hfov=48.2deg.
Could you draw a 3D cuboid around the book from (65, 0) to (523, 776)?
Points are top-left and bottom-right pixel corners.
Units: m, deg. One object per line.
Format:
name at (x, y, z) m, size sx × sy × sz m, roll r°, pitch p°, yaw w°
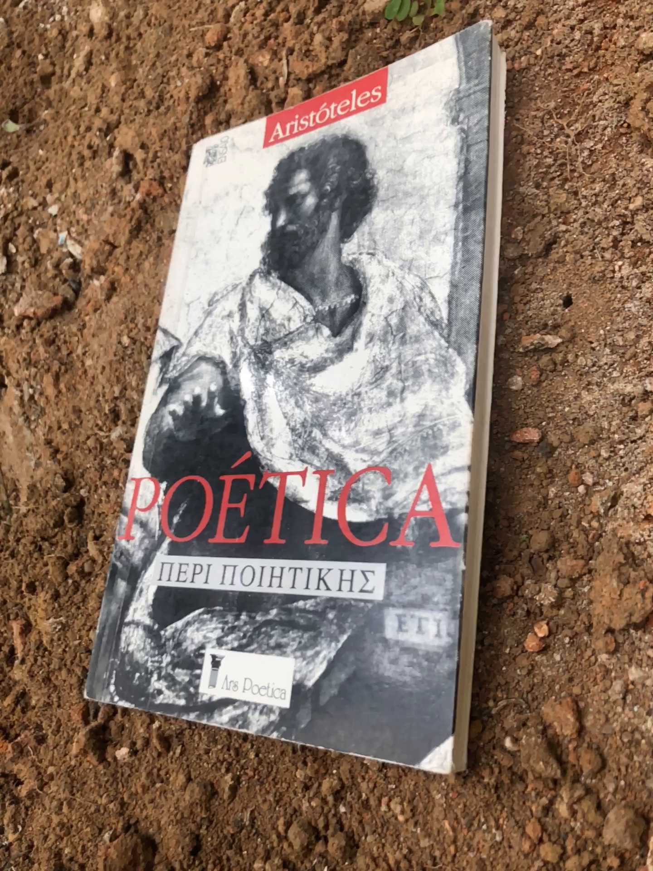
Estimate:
book at (-0.012, -0.018, 0.211) m, size 0.131 × 0.015 × 0.189 m, roll -6°, pitch 70°, yaw 36°
